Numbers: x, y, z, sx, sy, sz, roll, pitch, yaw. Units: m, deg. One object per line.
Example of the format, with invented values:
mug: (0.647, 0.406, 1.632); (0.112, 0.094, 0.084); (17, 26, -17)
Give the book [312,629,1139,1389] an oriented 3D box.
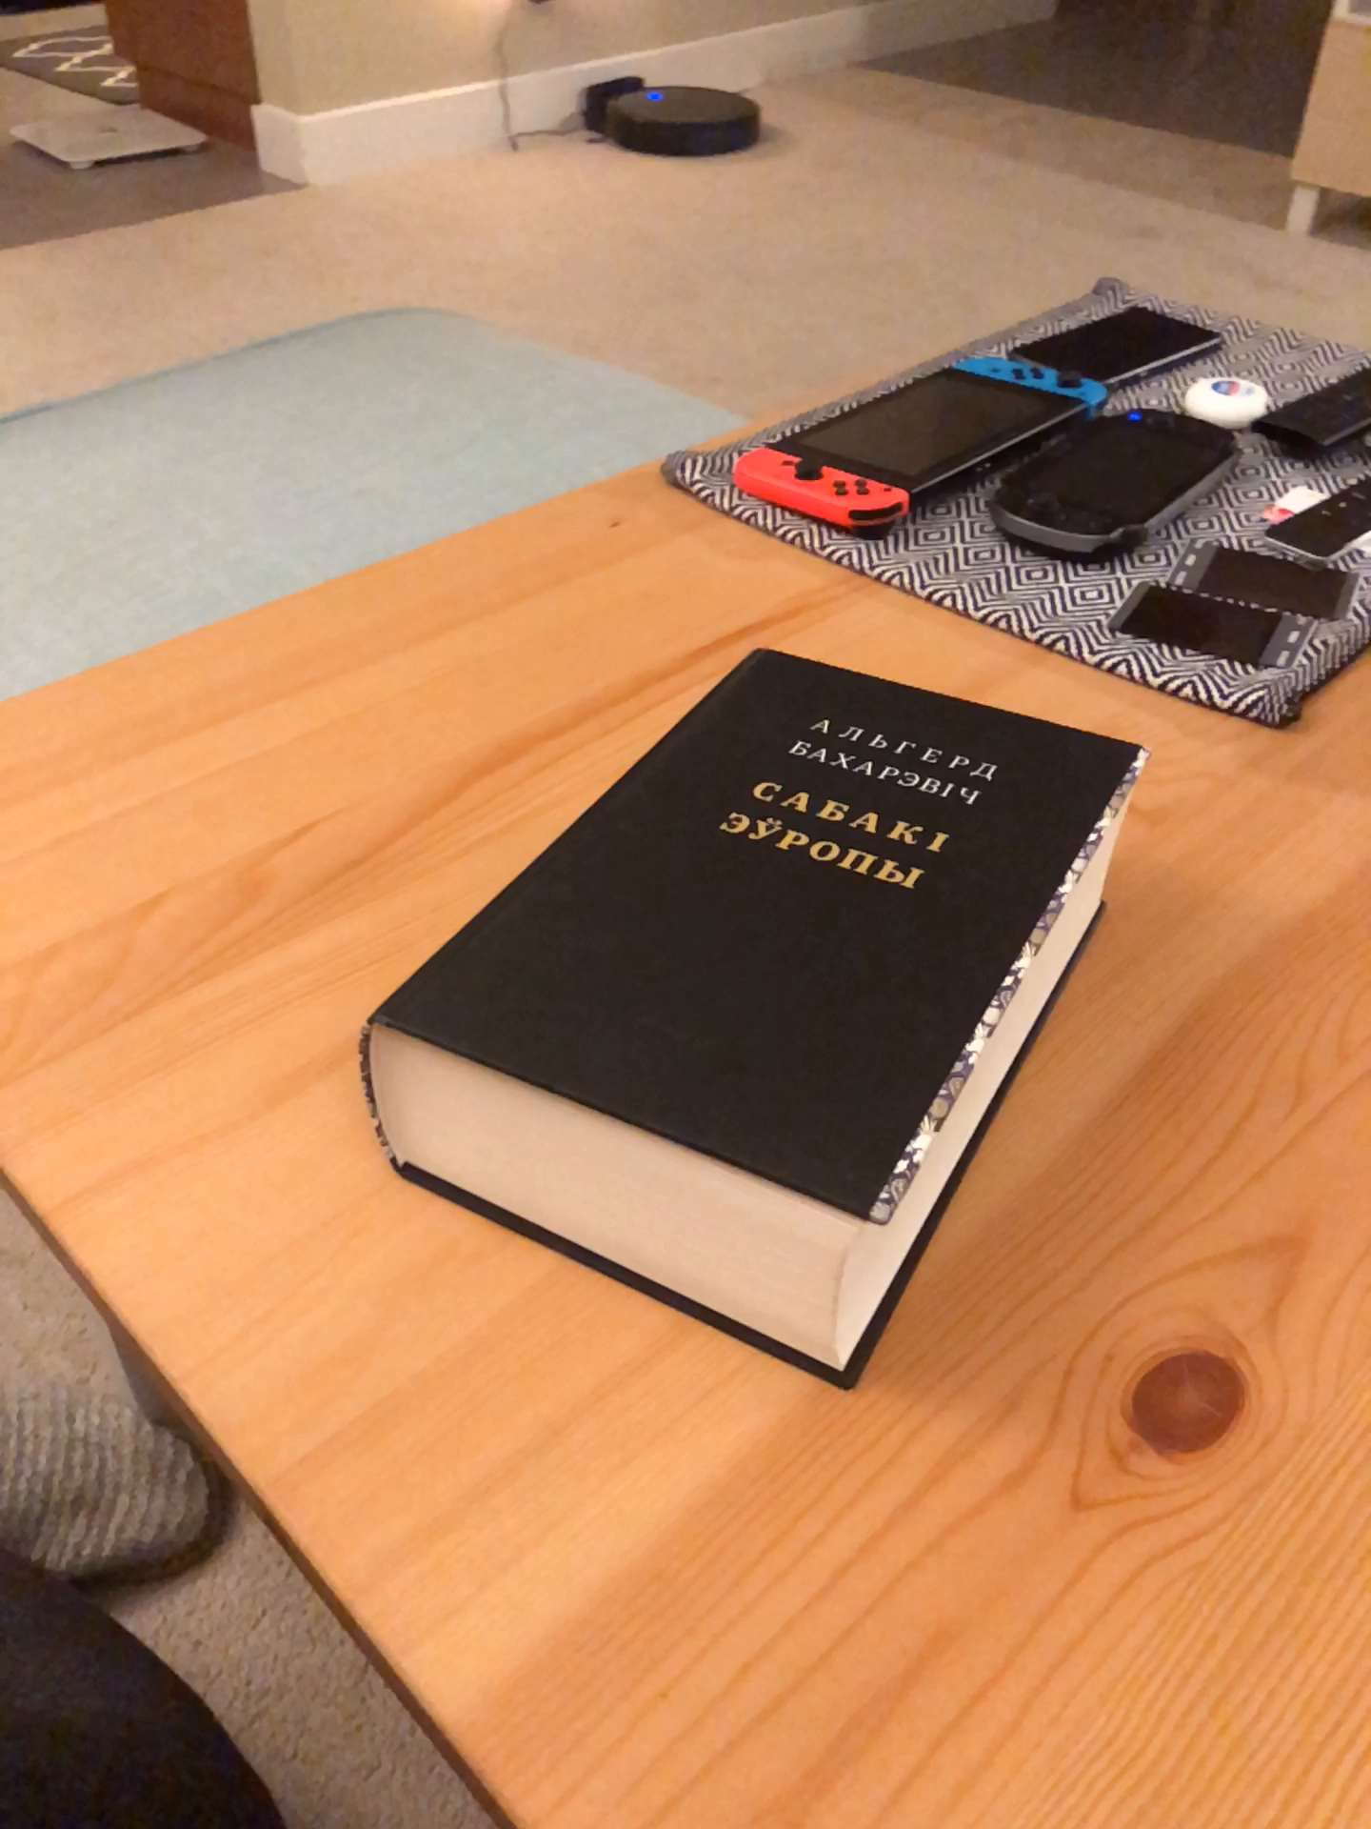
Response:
book: (0.025, 0.007, 0.468); (0.157, 0.061, 0.230); (18, 44, 23)
